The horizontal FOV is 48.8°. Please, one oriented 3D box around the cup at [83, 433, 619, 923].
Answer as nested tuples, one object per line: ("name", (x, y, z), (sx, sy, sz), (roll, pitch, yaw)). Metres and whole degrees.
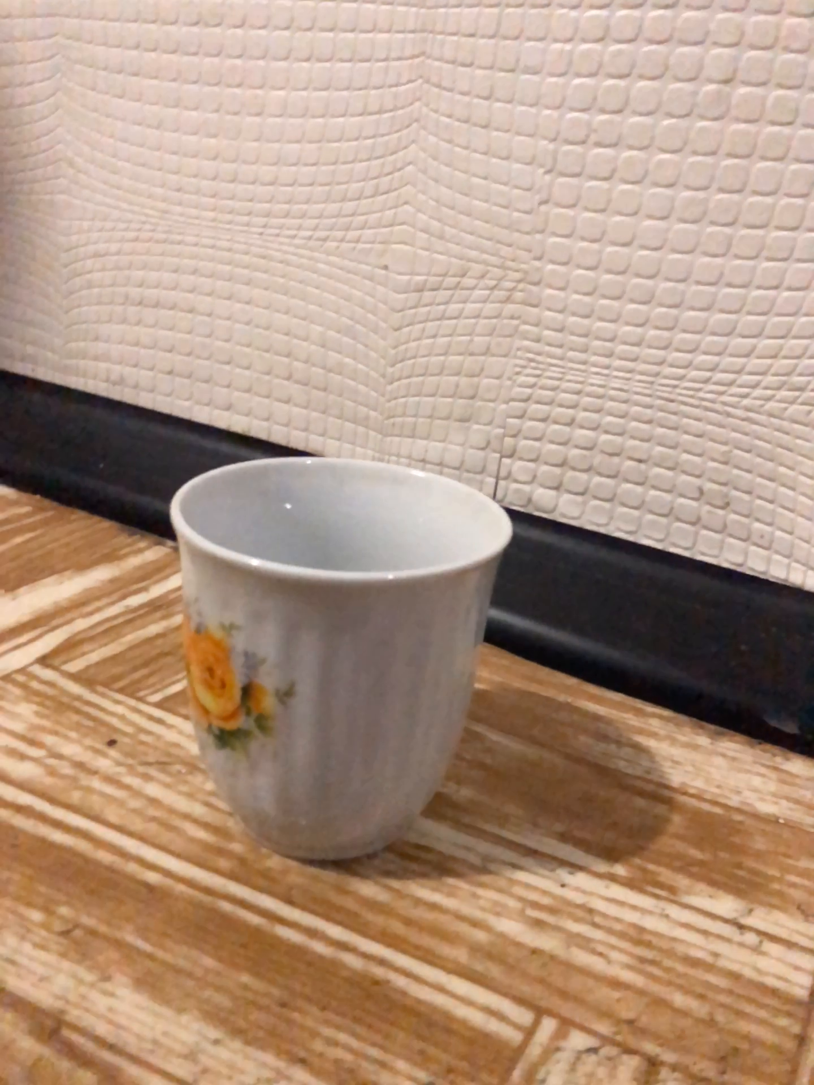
("cup", (-0.020, 0.021, 0.233), (0.094, 0.069, 0.097), (6, 21, -2))
